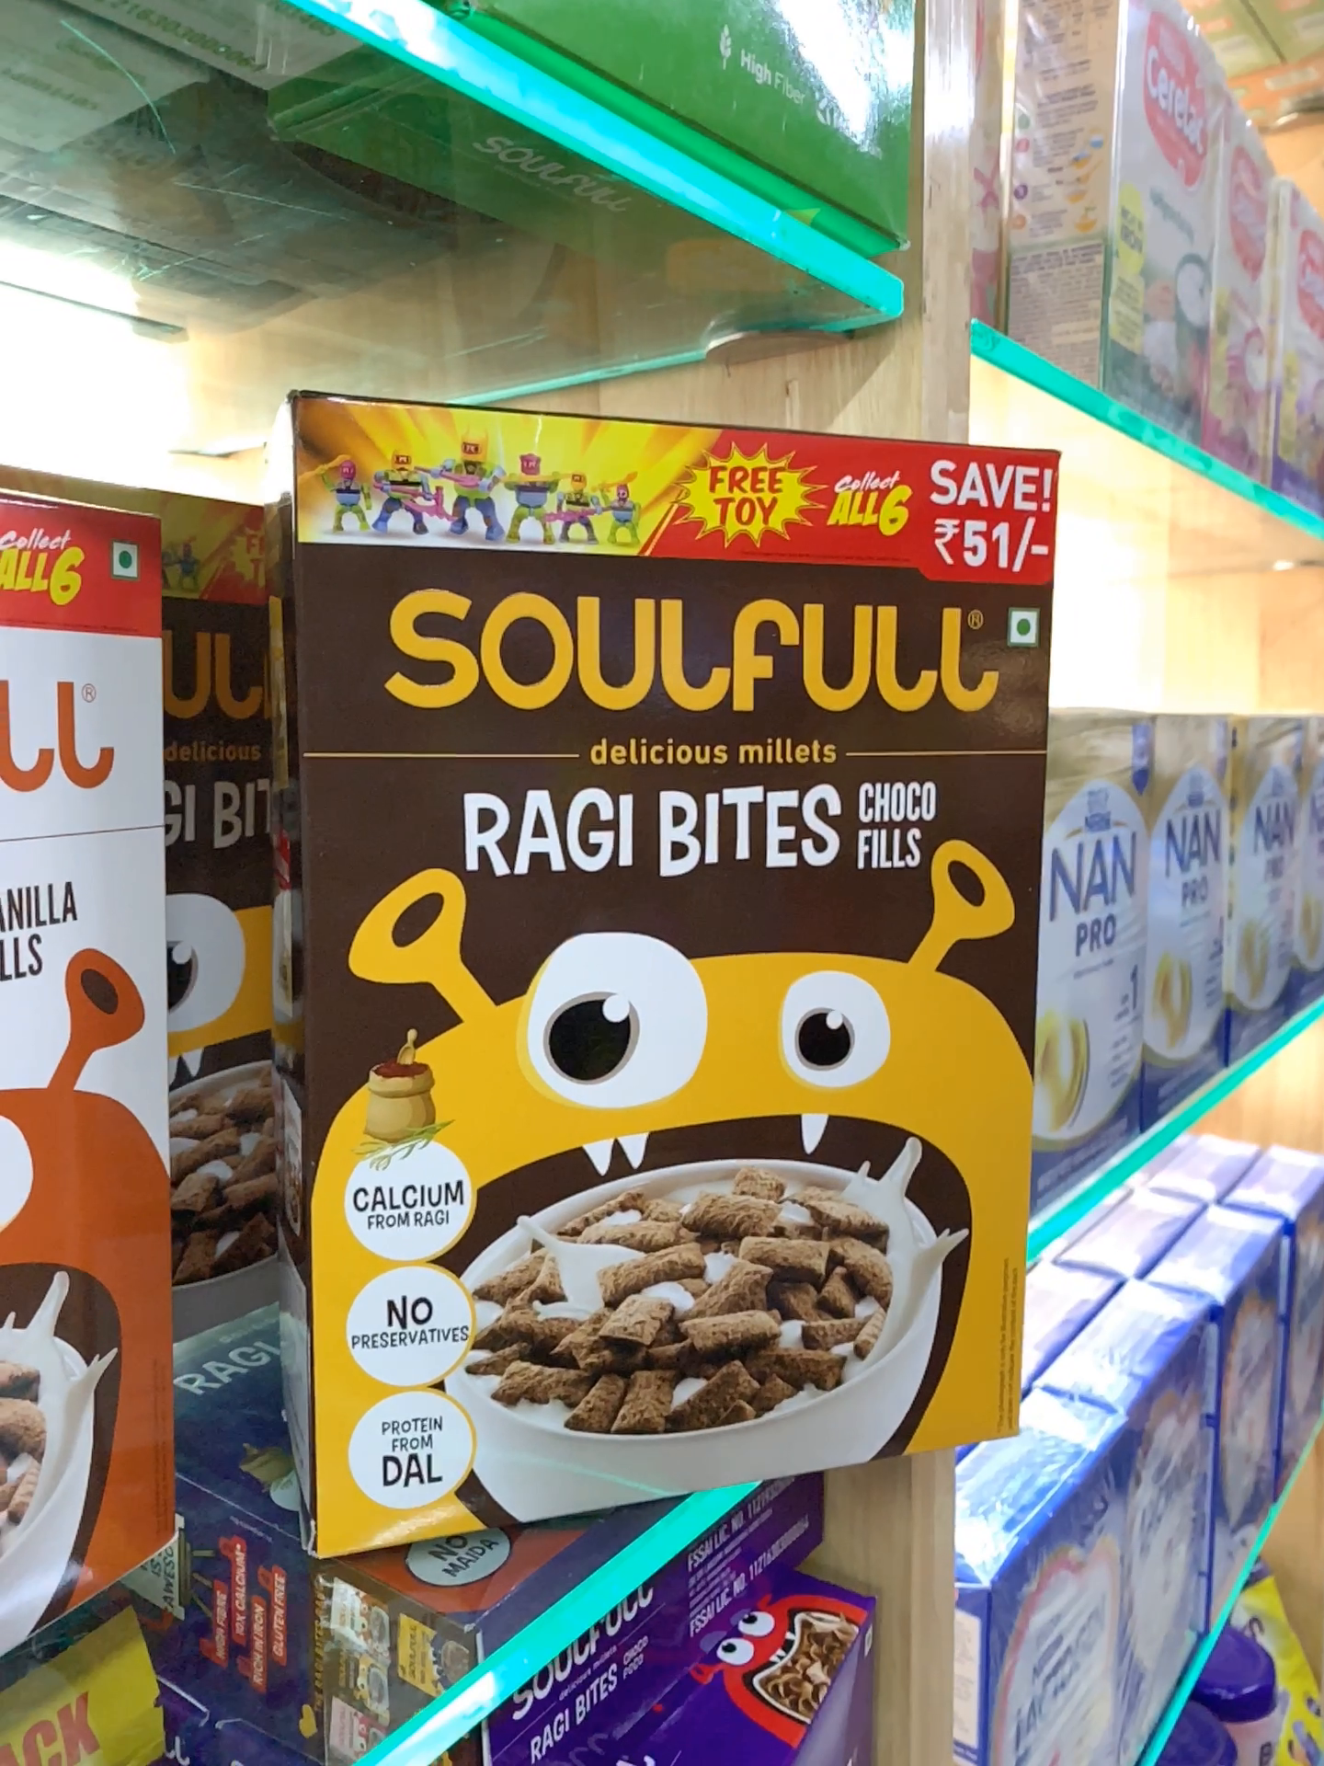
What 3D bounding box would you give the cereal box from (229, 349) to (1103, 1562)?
[{"bbox_3d":[0.000,0.013,0.326,0.190,0.239,0.060,-2,7,-18],"label":"cereal box"}]
